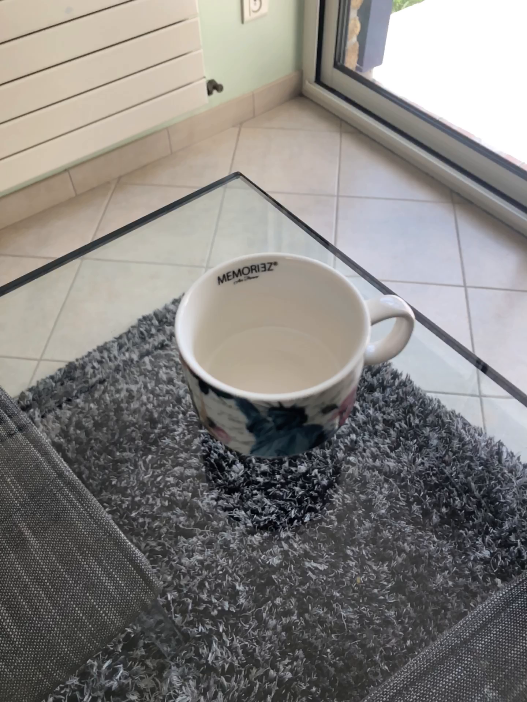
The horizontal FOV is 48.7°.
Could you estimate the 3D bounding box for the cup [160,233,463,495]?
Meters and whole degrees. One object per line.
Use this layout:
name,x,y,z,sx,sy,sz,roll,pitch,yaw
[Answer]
cup,0.013,0.004,0.220,0.090,0.050,0.070,-9,53,-6
